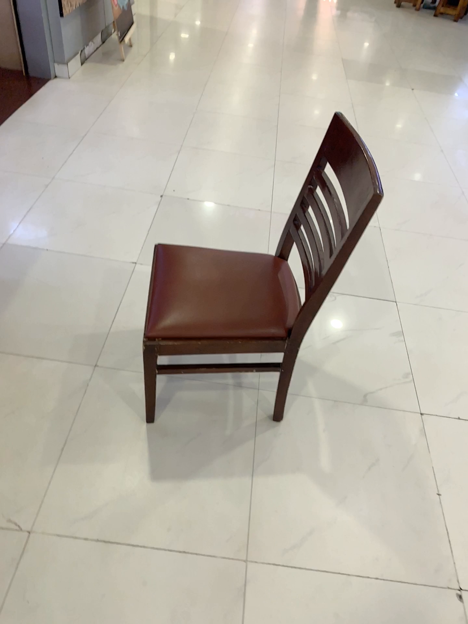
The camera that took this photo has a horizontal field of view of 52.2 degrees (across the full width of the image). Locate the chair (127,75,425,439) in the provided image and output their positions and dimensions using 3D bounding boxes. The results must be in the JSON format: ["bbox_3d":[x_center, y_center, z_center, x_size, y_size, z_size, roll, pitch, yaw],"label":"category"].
[{"bbox_3d":[0.035,-0.120,1.326,0.540,0.783,0.565,4,43,-5],"label":"chair"}]
